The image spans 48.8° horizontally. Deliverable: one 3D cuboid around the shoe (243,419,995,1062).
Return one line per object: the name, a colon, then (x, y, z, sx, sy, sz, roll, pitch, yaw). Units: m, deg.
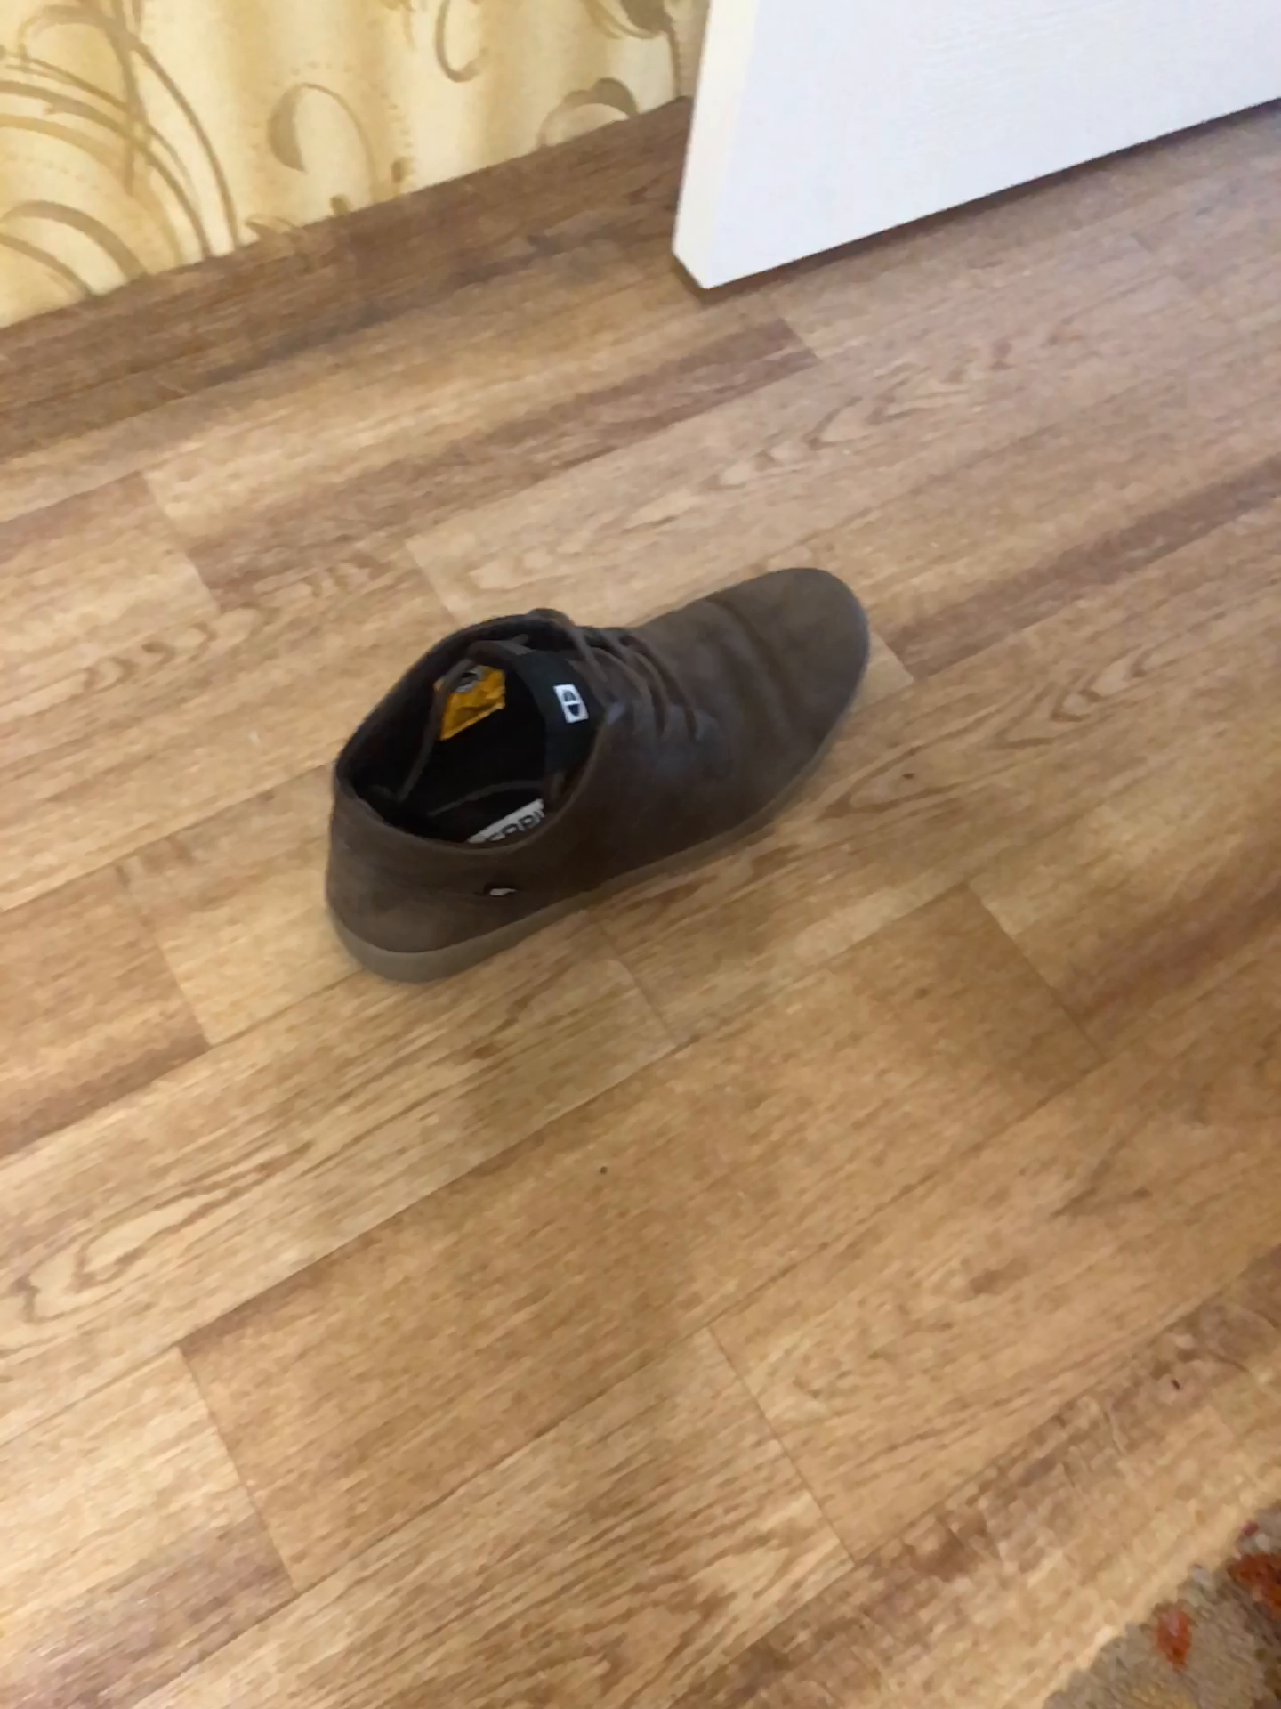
shoe: (-0.005, -0.049, 0.565, 0.270, 0.110, 0.100, -32, 71, -20)
